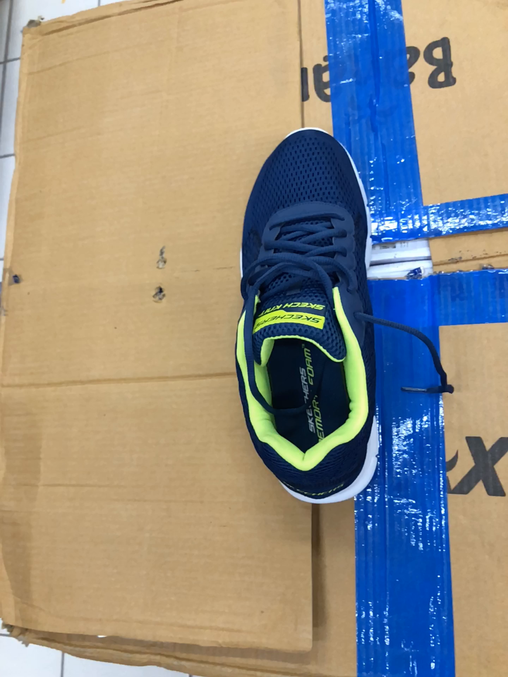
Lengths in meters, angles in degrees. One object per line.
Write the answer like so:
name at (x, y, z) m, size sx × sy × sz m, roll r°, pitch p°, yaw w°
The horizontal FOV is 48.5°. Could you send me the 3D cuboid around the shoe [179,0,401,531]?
shoe at (0.029, -0.037, 0.390) m, size 0.106 × 0.146 × 0.307 m, roll -6°, pitch 77°, yaw 17°
